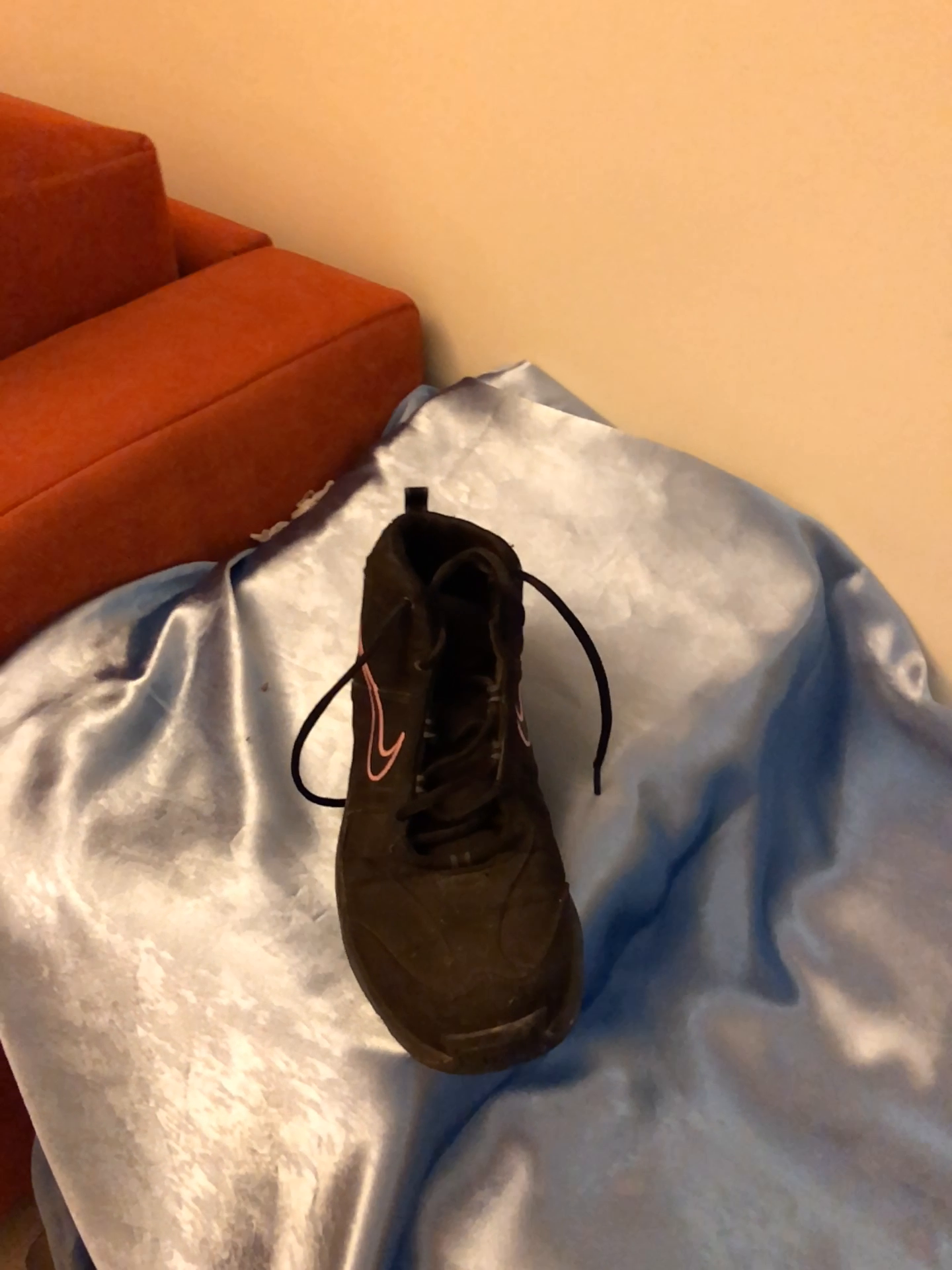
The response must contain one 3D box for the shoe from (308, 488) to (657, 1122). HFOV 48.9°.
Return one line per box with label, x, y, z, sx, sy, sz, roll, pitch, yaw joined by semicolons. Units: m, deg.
shoe;-0.012;0.056;0.467;0.107;0.099;0.262;-5;44;-6
